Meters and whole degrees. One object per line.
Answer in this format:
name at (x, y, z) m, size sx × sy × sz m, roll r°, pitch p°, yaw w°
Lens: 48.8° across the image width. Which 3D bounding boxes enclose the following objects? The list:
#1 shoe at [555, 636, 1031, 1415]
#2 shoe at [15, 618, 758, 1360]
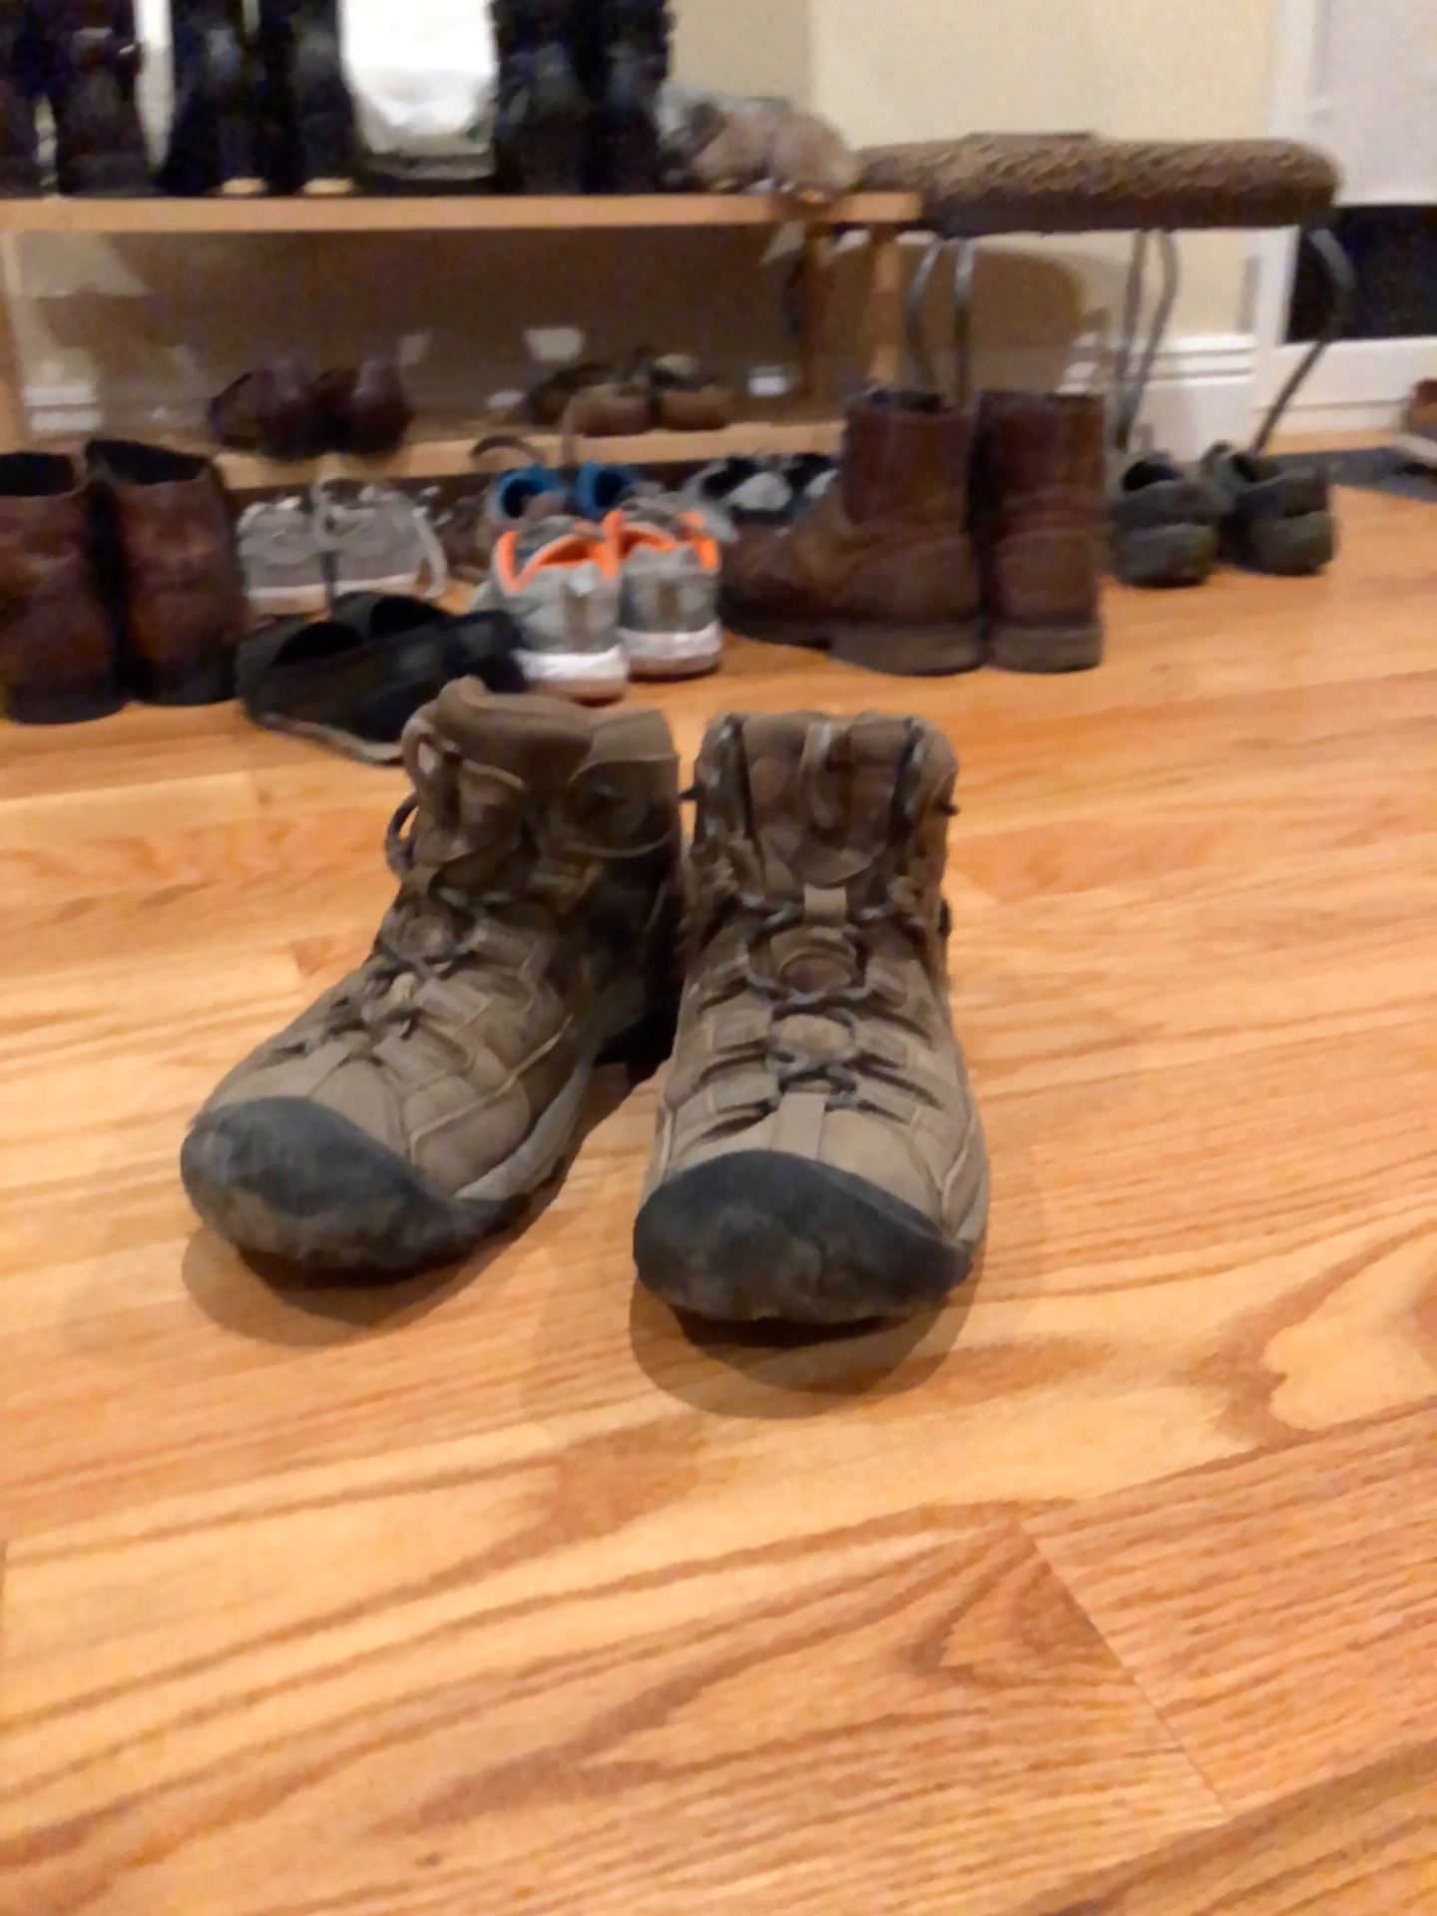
shoe at (0.033, -0.002, 0.502) m, size 0.107 × 0.139 × 0.261 m, roll 2°, pitch 25°, yaw 7°
shoe at (-0.083, -0.013, 0.529) m, size 0.107 × 0.139 × 0.261 m, roll 9°, pitch 26°, yaw 20°
